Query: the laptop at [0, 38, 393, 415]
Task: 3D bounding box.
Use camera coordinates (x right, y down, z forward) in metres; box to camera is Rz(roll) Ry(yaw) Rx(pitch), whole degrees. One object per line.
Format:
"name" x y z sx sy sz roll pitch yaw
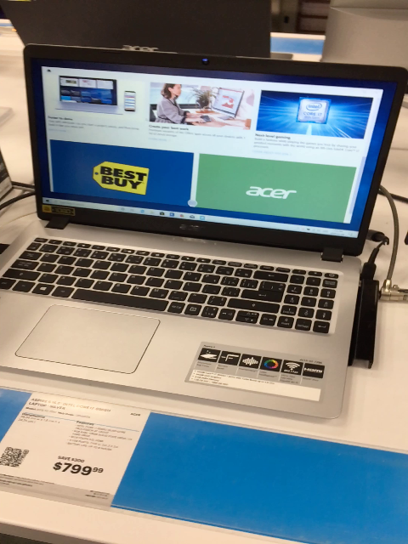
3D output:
"laptop" -0.042 -0.064 0.524 0.389 0.199 0.303 8 46 10
